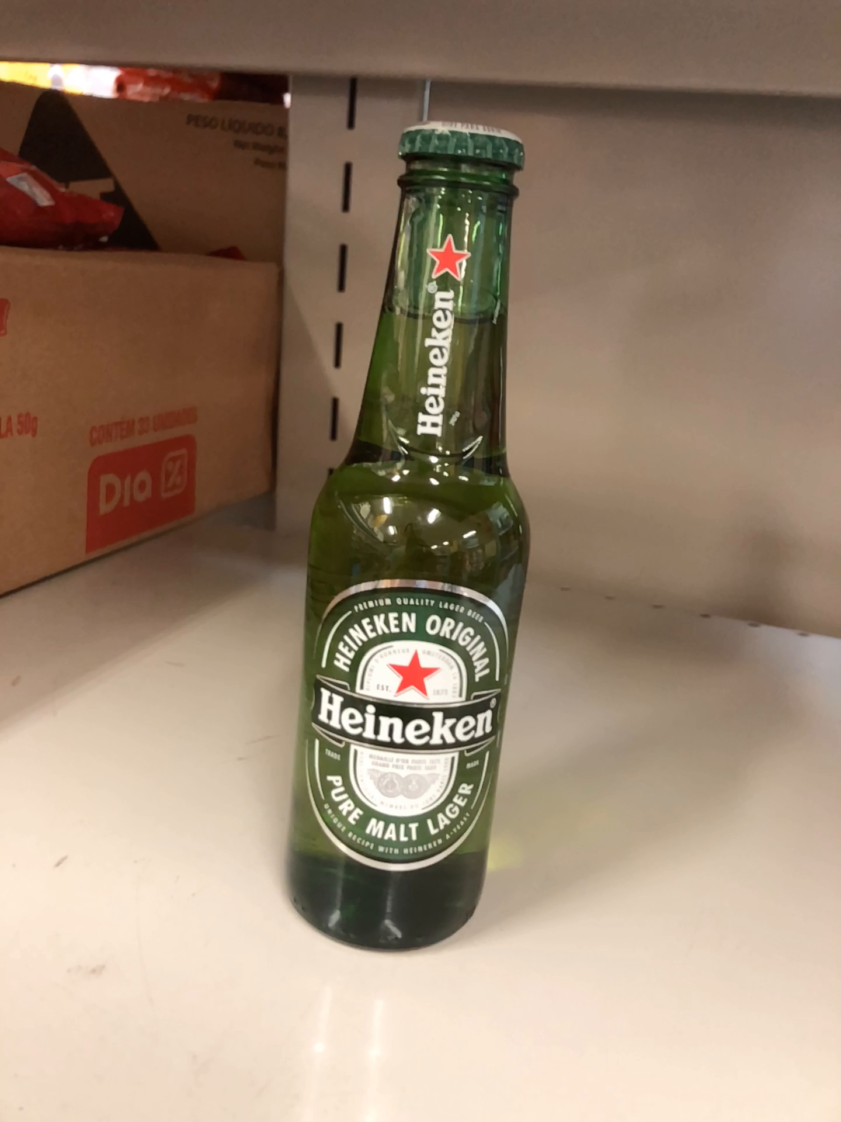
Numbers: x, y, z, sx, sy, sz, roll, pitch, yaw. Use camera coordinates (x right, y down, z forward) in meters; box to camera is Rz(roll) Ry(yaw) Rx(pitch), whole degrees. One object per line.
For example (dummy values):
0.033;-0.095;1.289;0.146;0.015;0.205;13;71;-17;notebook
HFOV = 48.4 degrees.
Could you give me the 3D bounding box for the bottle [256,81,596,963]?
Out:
-0.008;-0.003;0.235;0.060;0.199;0.060;4;19;-1;bottle
